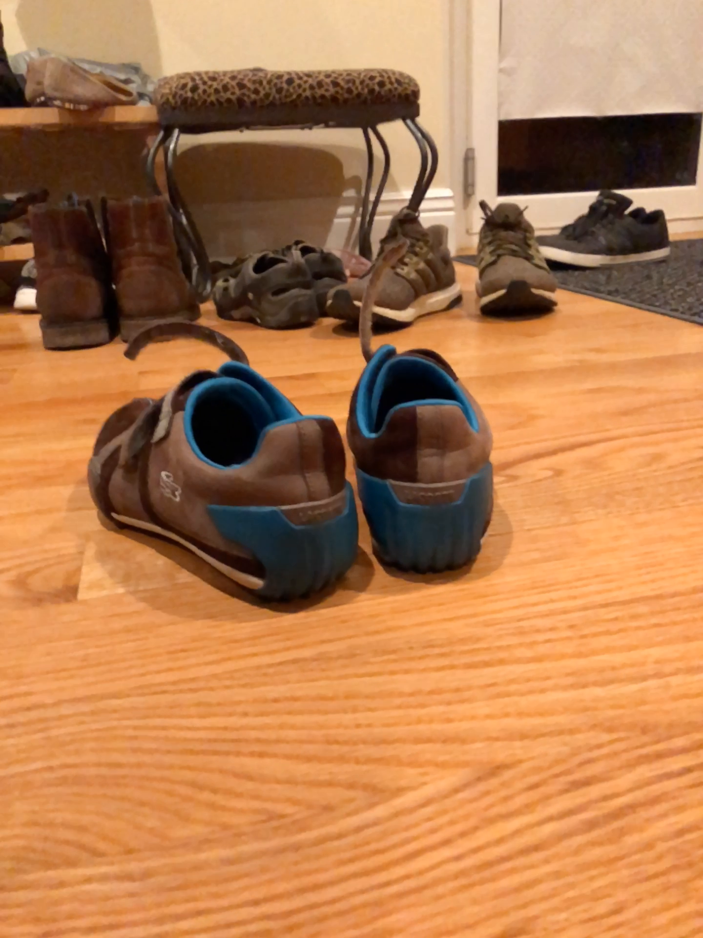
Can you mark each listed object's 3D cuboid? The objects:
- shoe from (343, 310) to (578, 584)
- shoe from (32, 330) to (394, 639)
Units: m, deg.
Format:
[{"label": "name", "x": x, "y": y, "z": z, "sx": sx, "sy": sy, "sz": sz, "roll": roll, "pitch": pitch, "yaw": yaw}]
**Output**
[{"label": "shoe", "x": 0.051, "y": -0.033, "z": 0.493, "sx": 0.102, "sy": 0.092, "sz": 0.256, "roll": -3, "pitch": 20, "yaw": -1}, {"label": "shoe", "x": -0.095, "y": -0.013, "z": 0.454, "sx": 0.102, "sy": 0.092, "sz": 0.256, "roll": -16, "pitch": 24, "yaw": -31}]
